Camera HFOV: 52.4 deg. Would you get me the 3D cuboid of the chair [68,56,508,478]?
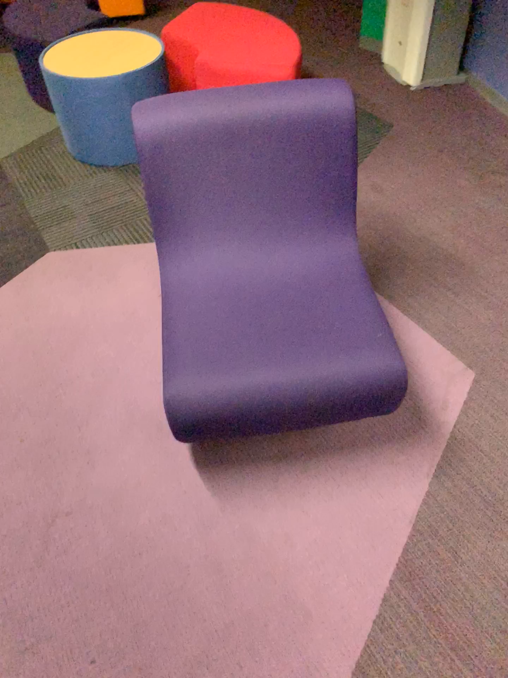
[{"bbox_3d":[0.054,-0.223,1.352,0.800,0.614,0.828,-8,47,-4],"label":"chair"}]
